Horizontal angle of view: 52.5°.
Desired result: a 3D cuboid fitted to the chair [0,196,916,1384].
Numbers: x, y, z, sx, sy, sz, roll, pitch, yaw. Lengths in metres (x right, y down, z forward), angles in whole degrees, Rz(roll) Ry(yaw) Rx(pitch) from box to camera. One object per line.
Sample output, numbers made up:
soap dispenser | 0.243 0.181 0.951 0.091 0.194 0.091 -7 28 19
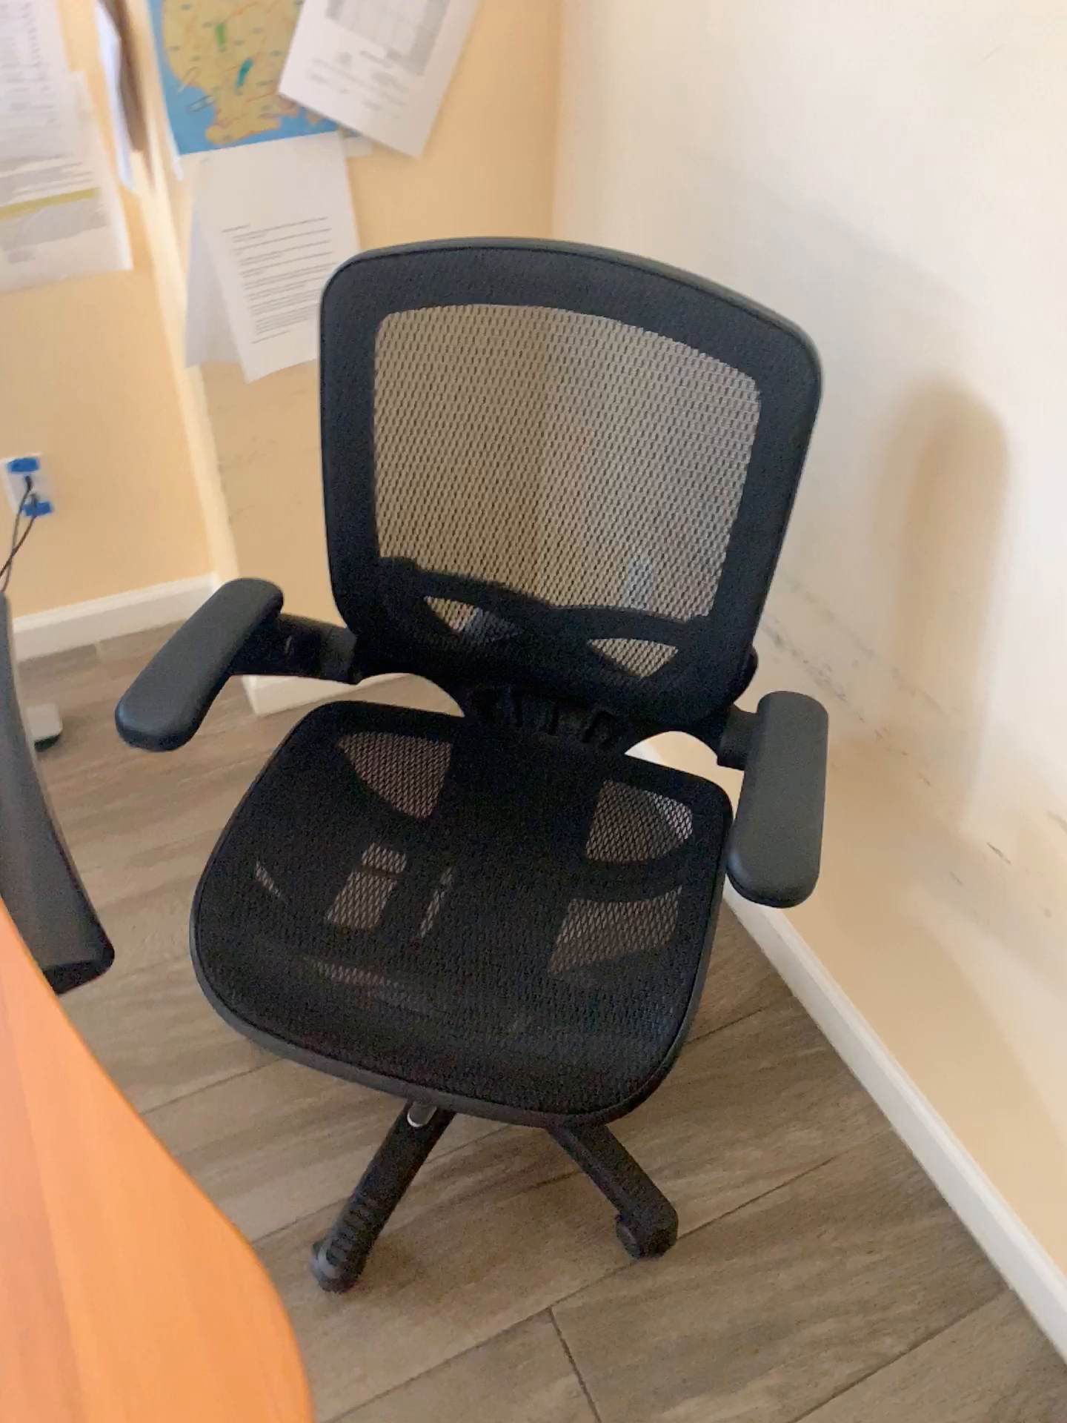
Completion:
chair | -0.057 0.081 1.160 0.639 0.869 0.776 12 45 7
